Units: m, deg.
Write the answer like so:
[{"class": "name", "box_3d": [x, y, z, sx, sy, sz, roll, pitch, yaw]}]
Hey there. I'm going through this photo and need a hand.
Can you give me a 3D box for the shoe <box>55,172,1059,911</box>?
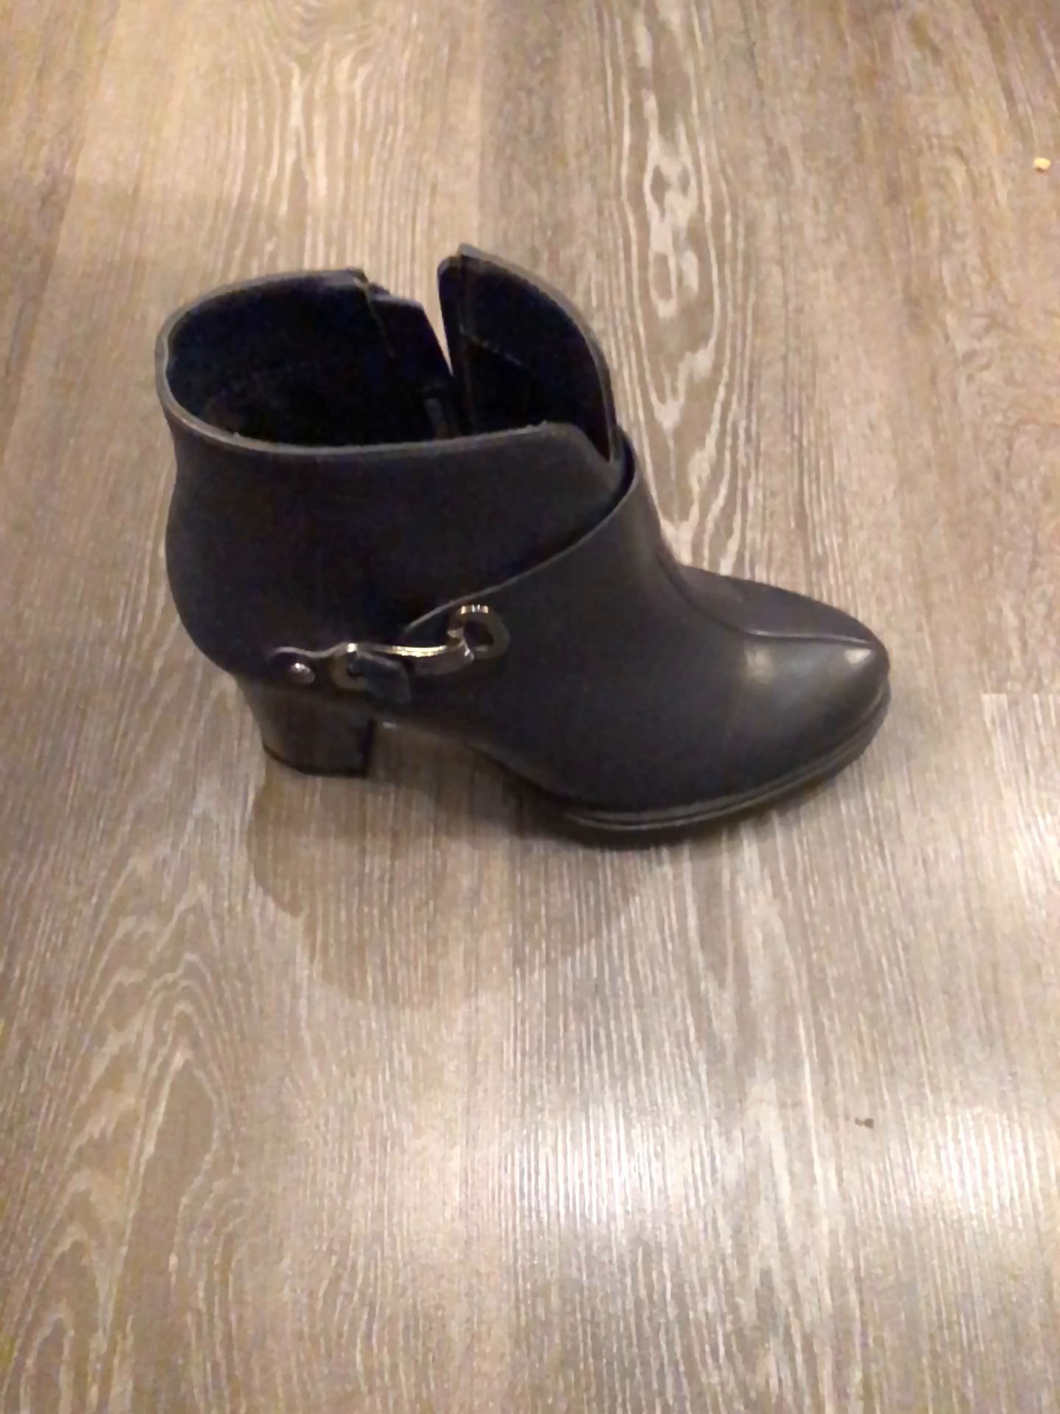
[{"class": "shoe", "box_3d": [0.016, -0.033, 0.342, 0.220, 0.179, 0.100, 8, 63, 4]}]
